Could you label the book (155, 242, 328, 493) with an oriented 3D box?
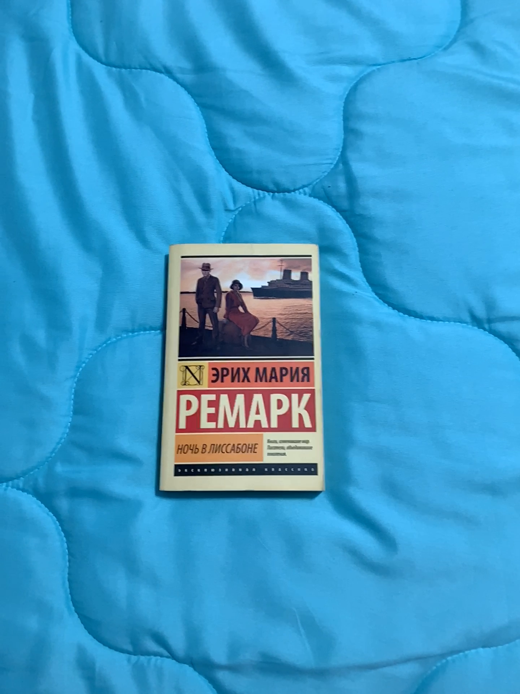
[{"bbox_3d":[-0.013,0.012,0.371,0.112,0.020,0.172,0,79,0],"label":"book"}]
